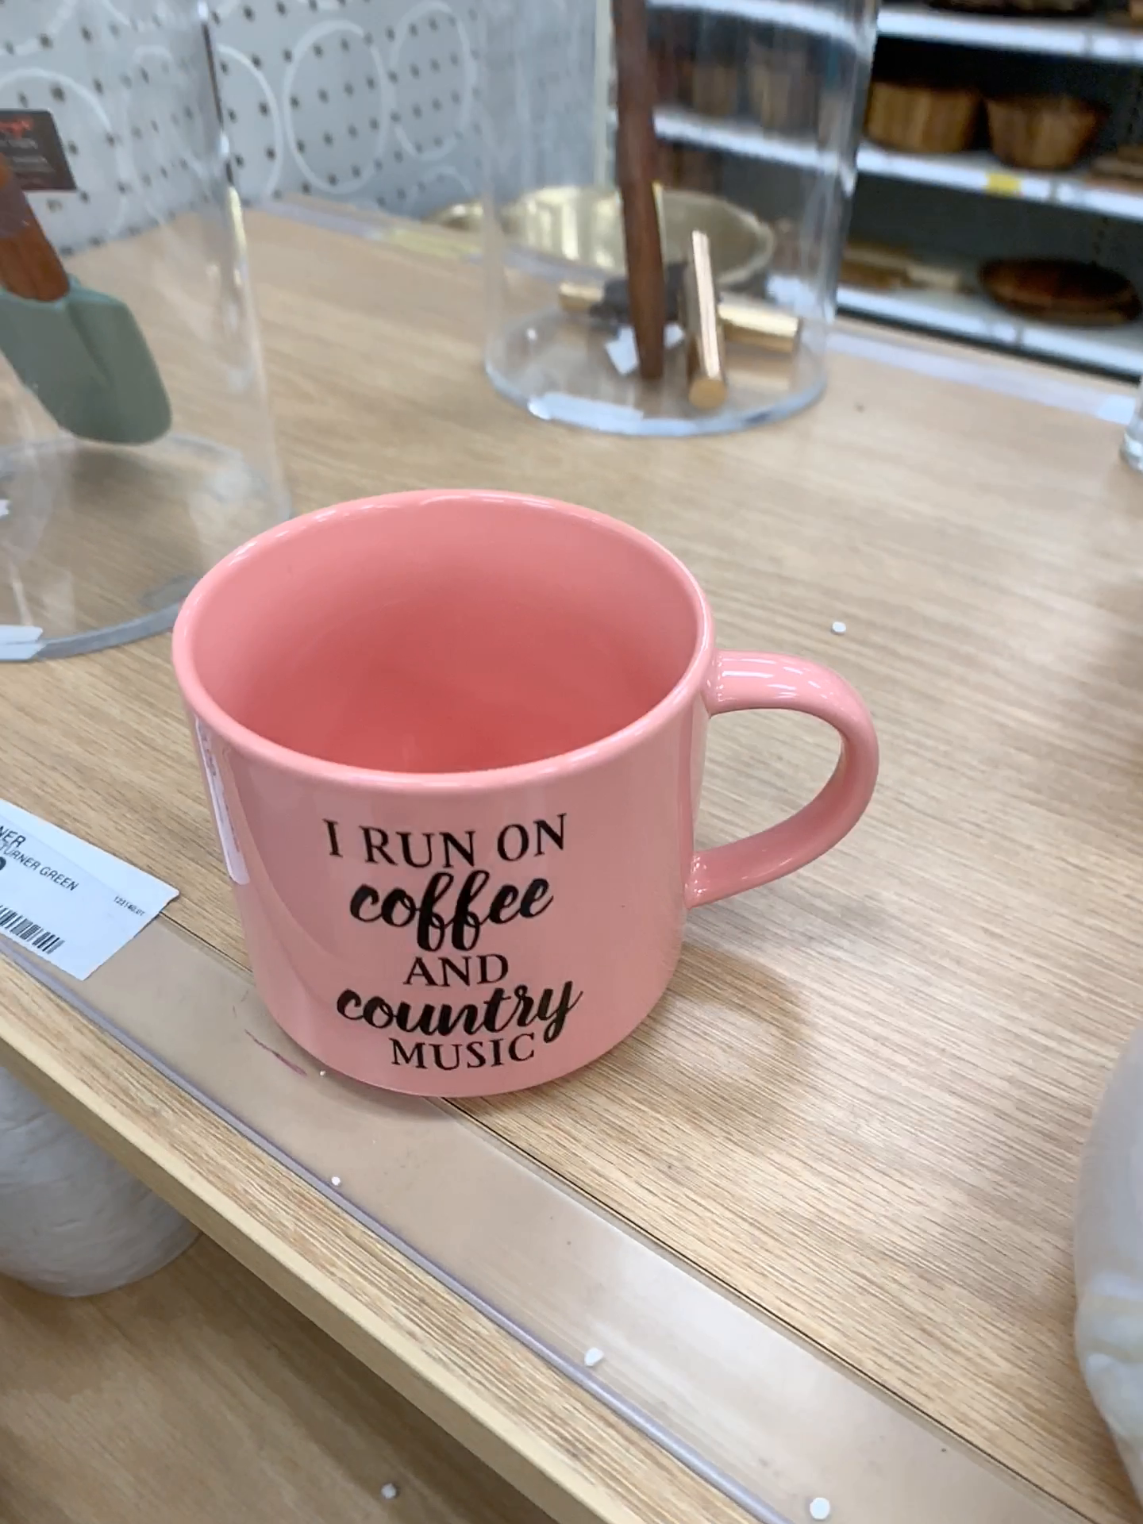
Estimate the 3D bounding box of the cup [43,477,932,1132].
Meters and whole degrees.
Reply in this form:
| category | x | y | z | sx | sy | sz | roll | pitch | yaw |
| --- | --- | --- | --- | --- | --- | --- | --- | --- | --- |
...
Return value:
| category | x | y | z | sx | sy | sz | roll | pitch | yaw |
| --- | --- | --- | --- | --- | --- | --- | --- | --- | --- |
| cup | -0.012 | 0.005 | 0.244 | 0.133 | 0.085 | 0.104 | 1 | 39 | 1 |
